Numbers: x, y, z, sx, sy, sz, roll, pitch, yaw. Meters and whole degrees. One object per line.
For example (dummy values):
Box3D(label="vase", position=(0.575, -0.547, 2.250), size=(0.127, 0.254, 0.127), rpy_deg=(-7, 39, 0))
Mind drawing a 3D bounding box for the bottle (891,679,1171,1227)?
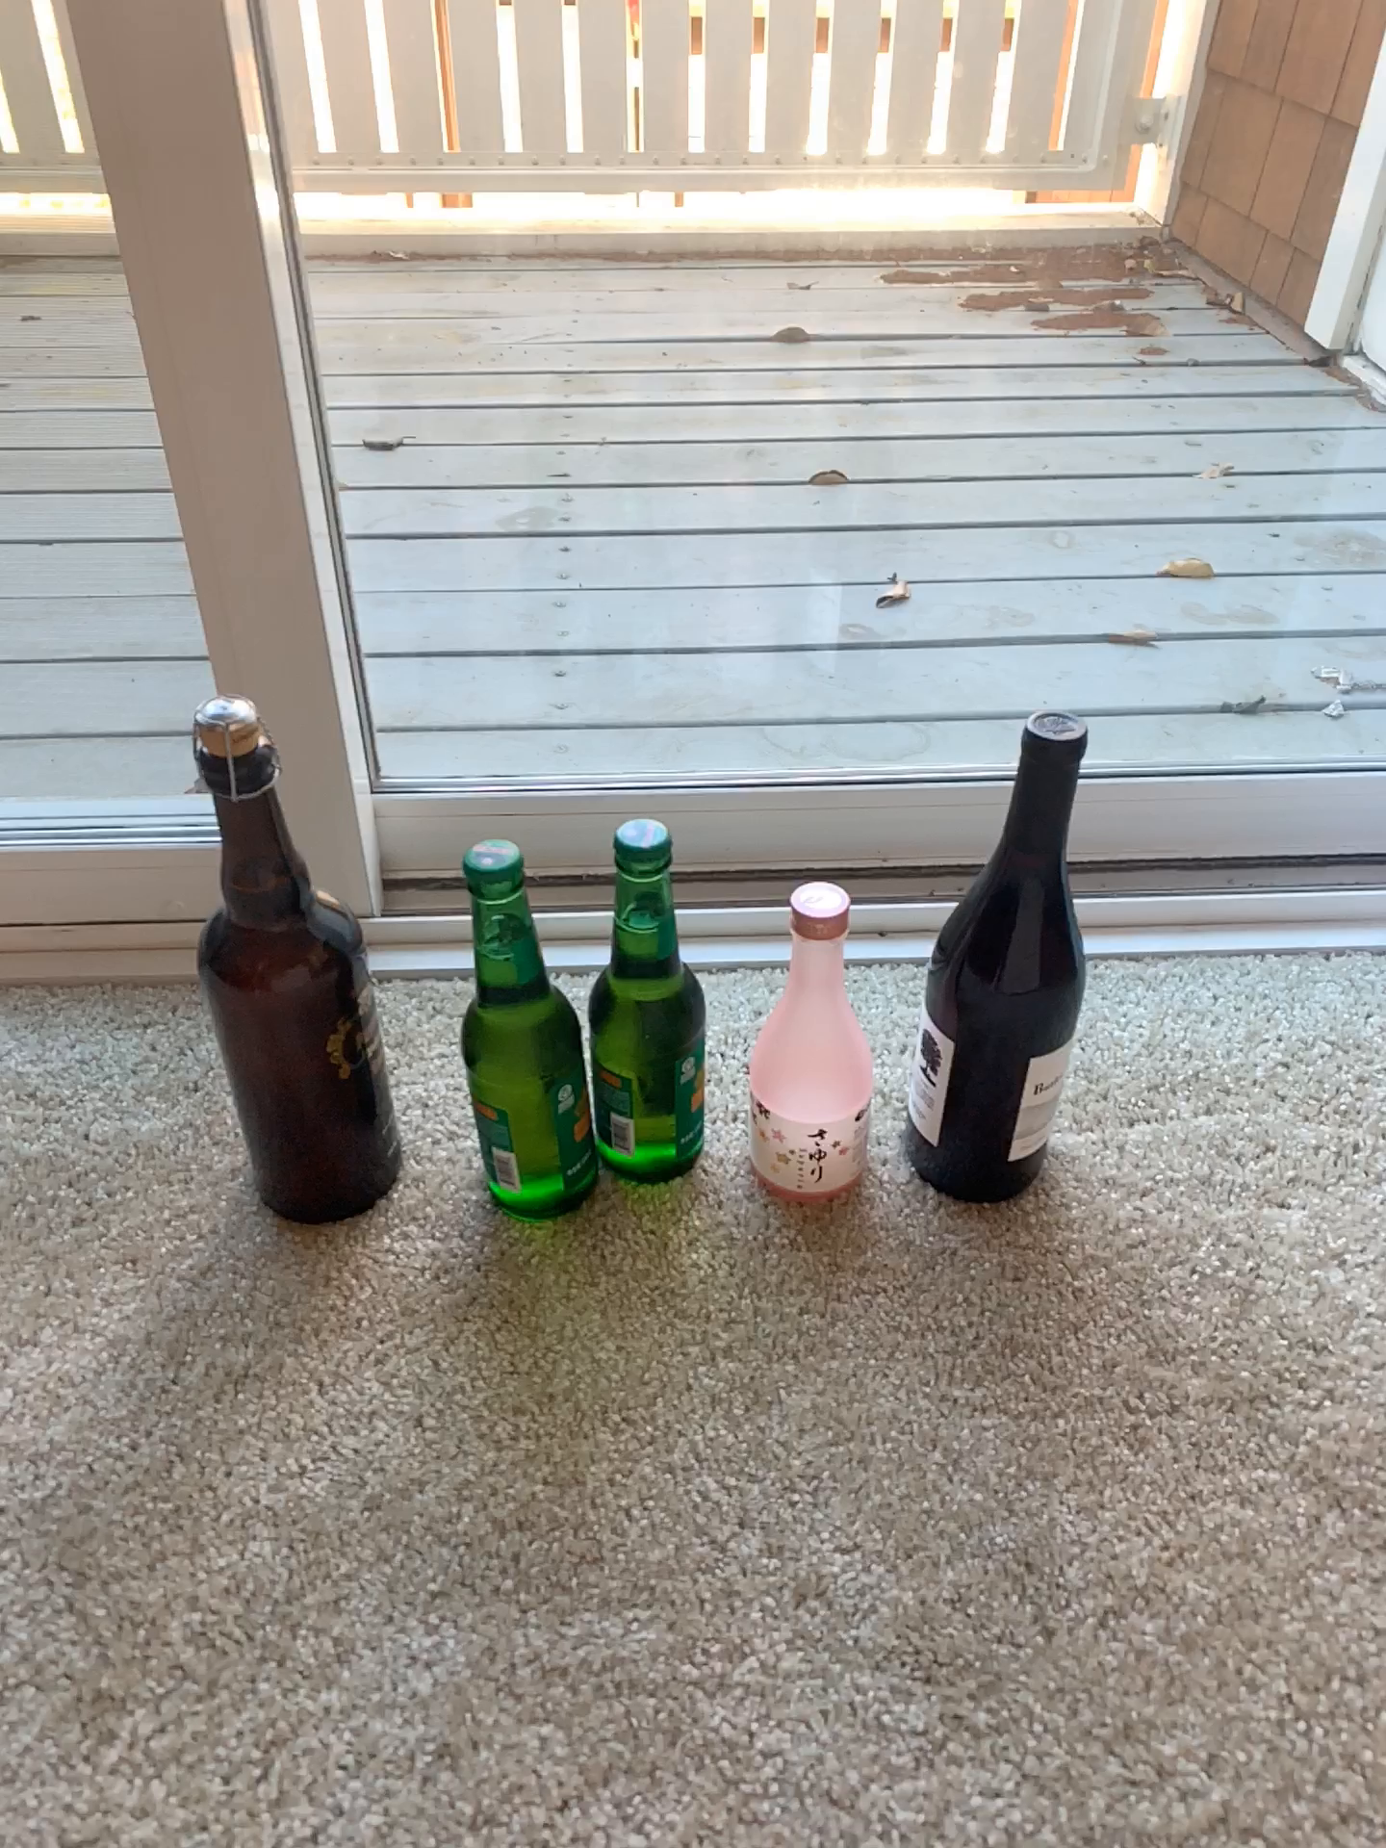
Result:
Box3D(label="bottle", position=(0.166, 0.019, 0.711), size=(0.090, 0.248, 0.111), rpy_deg=(11, 40, 13))

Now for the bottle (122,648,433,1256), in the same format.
Box3D(label="bottle", position=(-0.194, 0.021, 0.683), size=(0.090, 0.278, 0.101), rpy_deg=(-11, 40, -15))

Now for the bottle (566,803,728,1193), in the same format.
Box3D(label="bottle", position=(-0.025, 0.041, 0.725), size=(0.070, 0.189, 0.081), rpy_deg=(-3, 38, -6))

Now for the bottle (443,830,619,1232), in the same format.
Box3D(label="bottle", position=(-0.079, 0.057, 0.706), size=(0.070, 0.189, 0.081), rpy_deg=(-6, 39, -8))

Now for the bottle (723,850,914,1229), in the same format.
Box3D(label="bottle", position=(0.061, 0.060, 0.711), size=(0.070, 0.169, 0.080), rpy_deg=(11, 40, 13))
